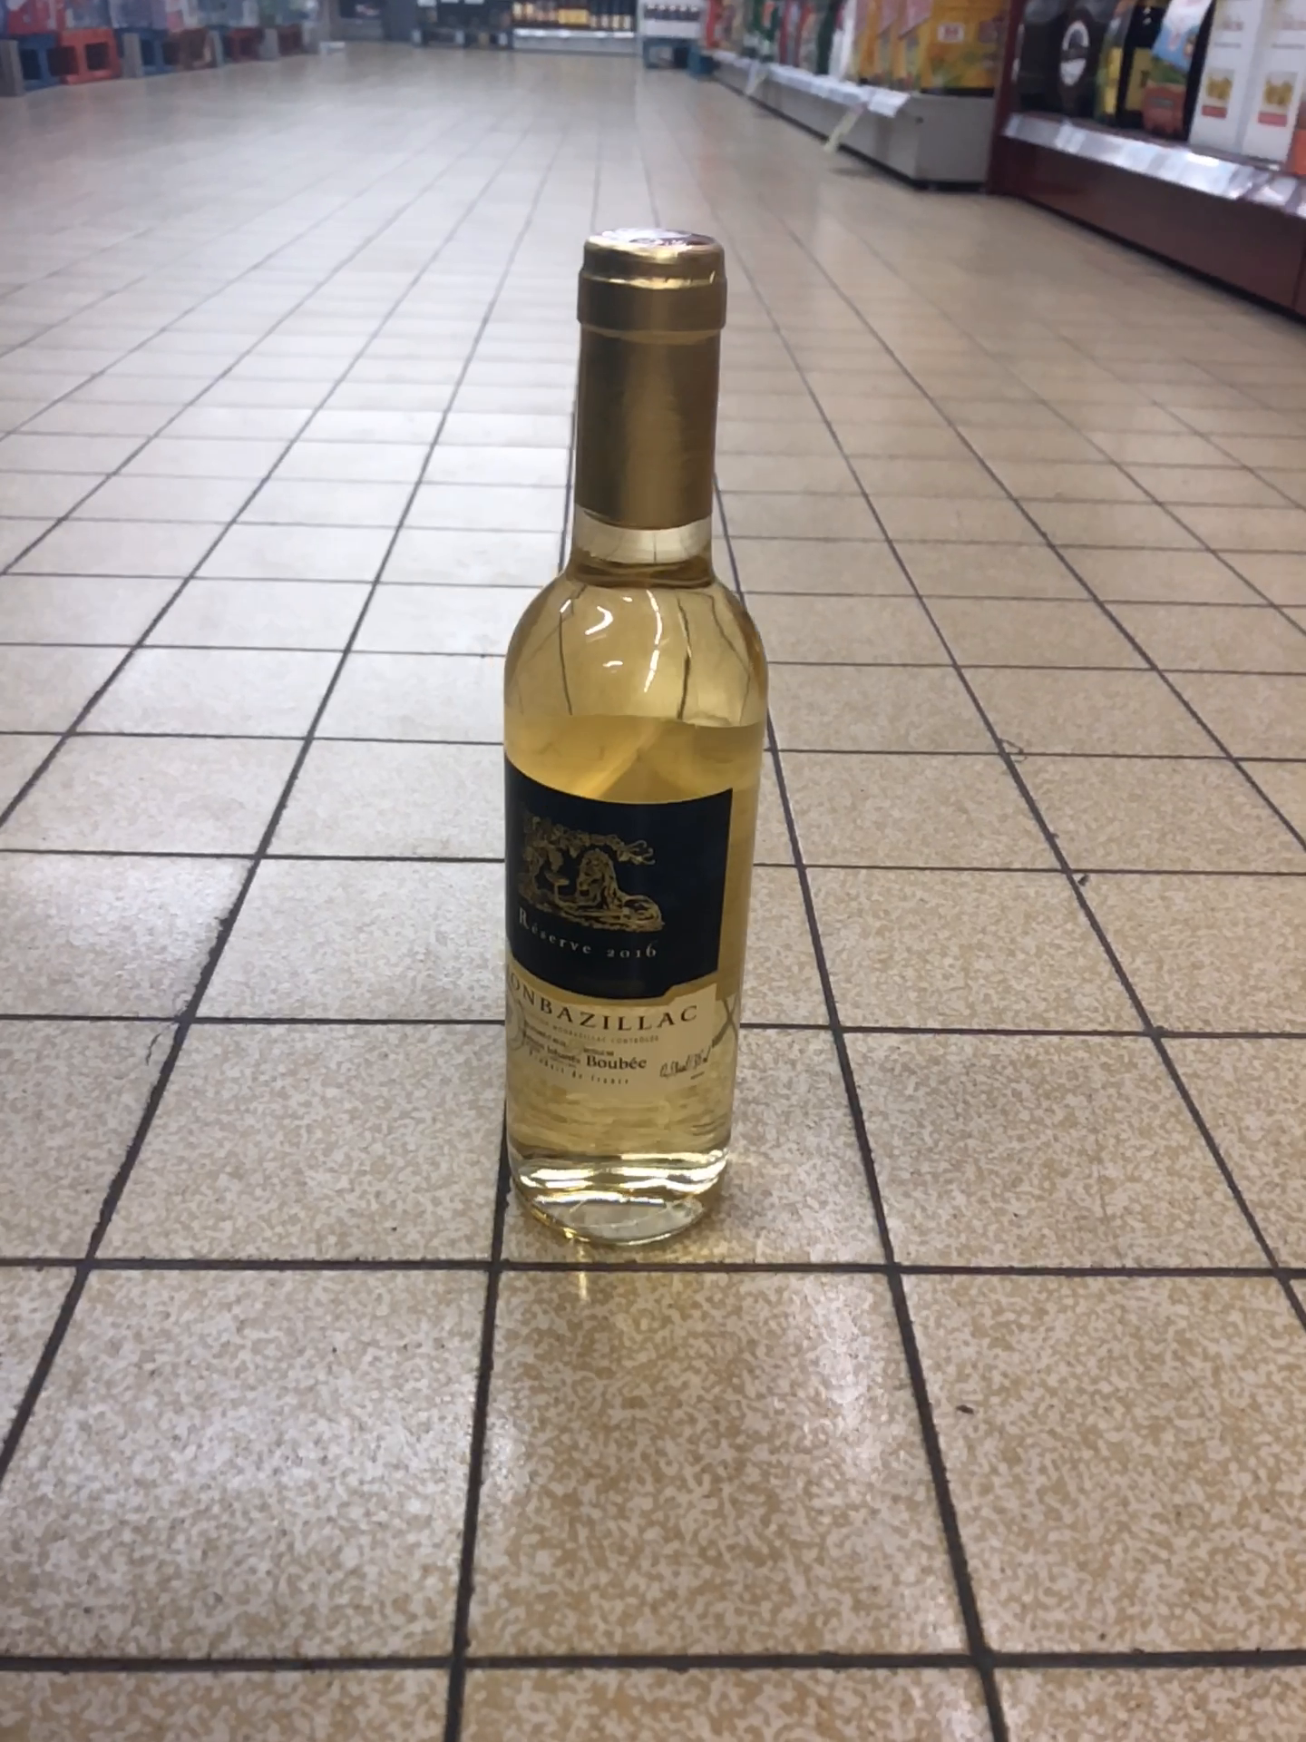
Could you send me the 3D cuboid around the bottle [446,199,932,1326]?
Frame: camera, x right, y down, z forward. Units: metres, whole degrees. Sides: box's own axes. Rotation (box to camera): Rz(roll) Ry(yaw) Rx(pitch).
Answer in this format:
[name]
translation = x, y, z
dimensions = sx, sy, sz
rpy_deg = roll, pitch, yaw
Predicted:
[bottle]
translation = 0.005, -0.018, 0.329
dimensions = 0.070, 0.239, 0.070
rpy_deg = 2, 29, -1
